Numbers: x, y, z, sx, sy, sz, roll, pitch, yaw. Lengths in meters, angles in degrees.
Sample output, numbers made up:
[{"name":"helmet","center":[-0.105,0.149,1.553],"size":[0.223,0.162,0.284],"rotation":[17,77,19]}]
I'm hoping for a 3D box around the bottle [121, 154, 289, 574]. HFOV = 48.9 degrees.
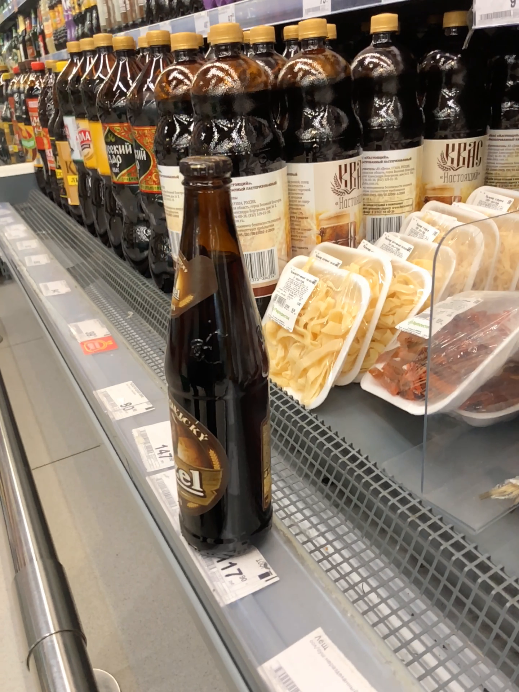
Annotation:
[{"name":"bottle","center":[-0.028,0.015,0.335],"size":[0.070,0.231,0.070],"rotation":[-2,25,1]}]
